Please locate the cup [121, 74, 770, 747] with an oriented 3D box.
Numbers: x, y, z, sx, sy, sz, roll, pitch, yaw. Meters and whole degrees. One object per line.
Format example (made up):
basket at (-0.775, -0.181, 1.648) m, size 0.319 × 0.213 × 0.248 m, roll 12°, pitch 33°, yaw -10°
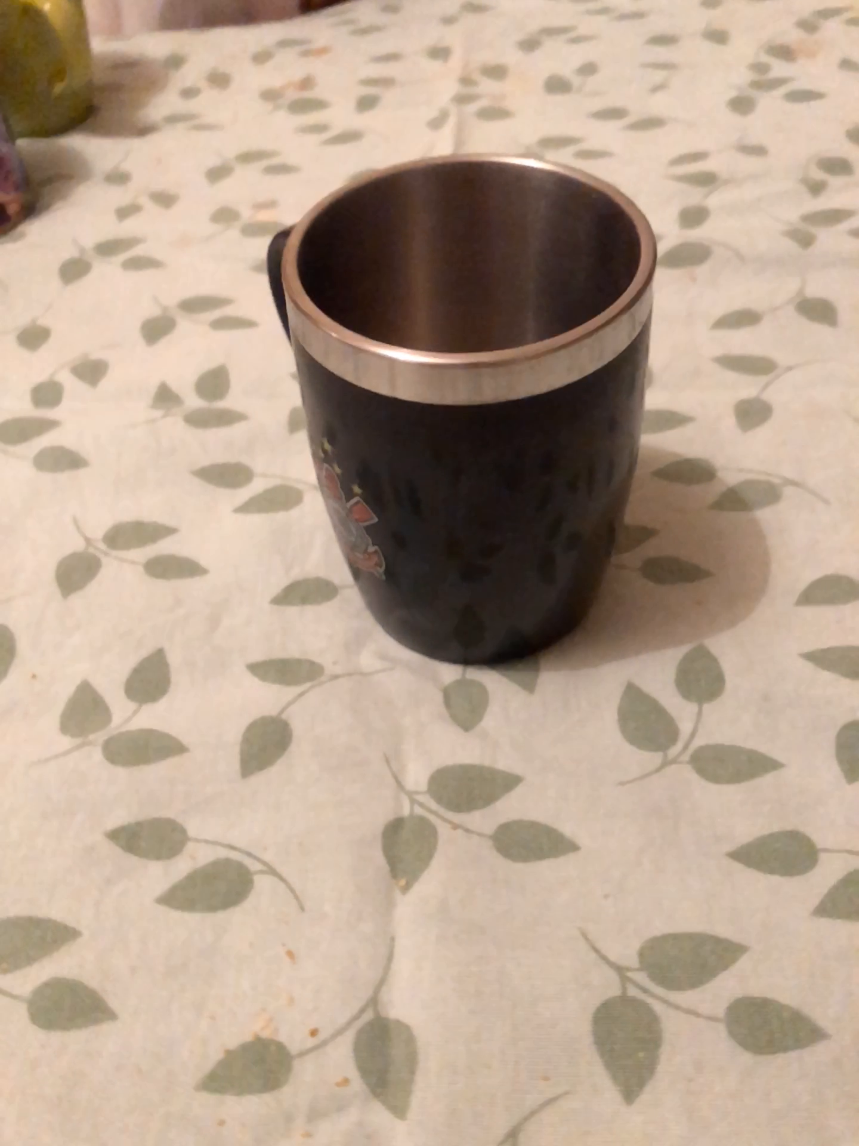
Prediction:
cup at (0.003, -0.049, 0.275) m, size 0.090 × 0.119 × 0.130 m, roll -38°, pitch 57°, yaw -25°
